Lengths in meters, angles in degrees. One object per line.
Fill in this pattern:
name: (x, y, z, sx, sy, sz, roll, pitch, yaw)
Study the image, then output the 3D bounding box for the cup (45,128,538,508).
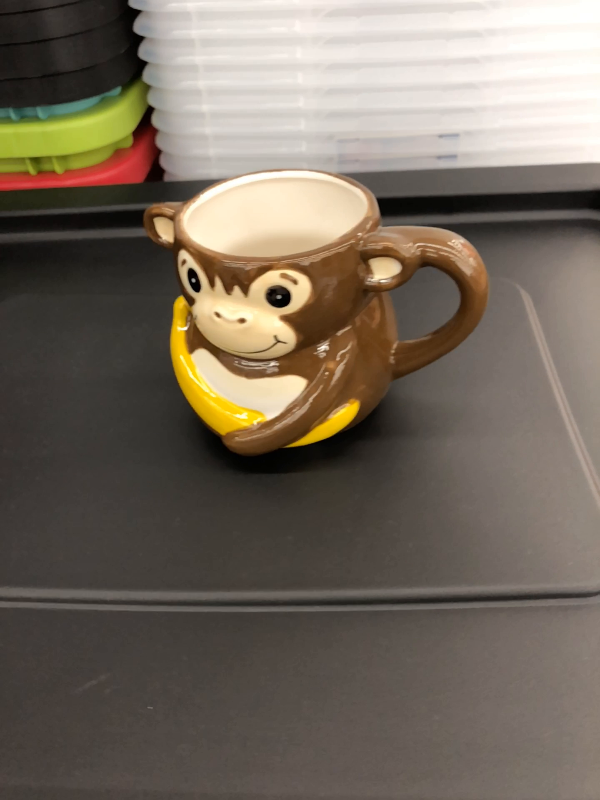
cup: (0.006, -0.041, 0.285, 0.160, 0.100, 0.110, 7, 42, 12)
